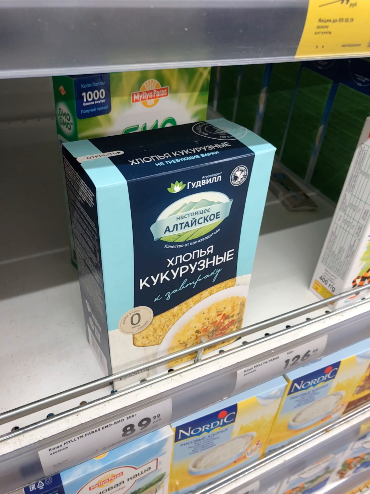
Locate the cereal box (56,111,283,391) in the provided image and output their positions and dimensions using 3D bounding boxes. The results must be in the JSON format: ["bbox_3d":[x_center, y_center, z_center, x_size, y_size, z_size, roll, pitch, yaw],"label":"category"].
[{"bbox_3d":[-0.014,0.007,0.317,0.130,0.189,0.060,-16,42,-25],"label":"cereal box"}]
